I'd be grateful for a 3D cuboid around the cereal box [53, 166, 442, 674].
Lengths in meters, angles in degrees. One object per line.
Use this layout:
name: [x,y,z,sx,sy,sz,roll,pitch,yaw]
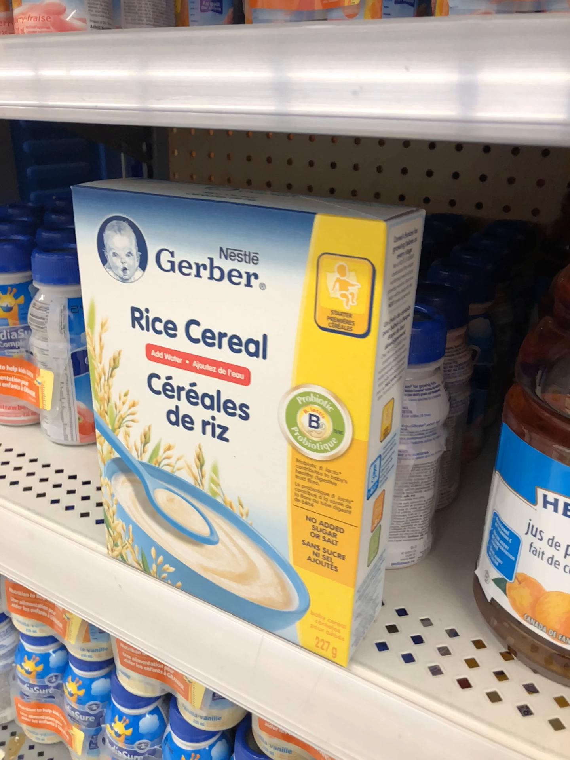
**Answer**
cereal box: [-0.022,0.012,0.298,0.150,0.199,0.060,15,26,26]
